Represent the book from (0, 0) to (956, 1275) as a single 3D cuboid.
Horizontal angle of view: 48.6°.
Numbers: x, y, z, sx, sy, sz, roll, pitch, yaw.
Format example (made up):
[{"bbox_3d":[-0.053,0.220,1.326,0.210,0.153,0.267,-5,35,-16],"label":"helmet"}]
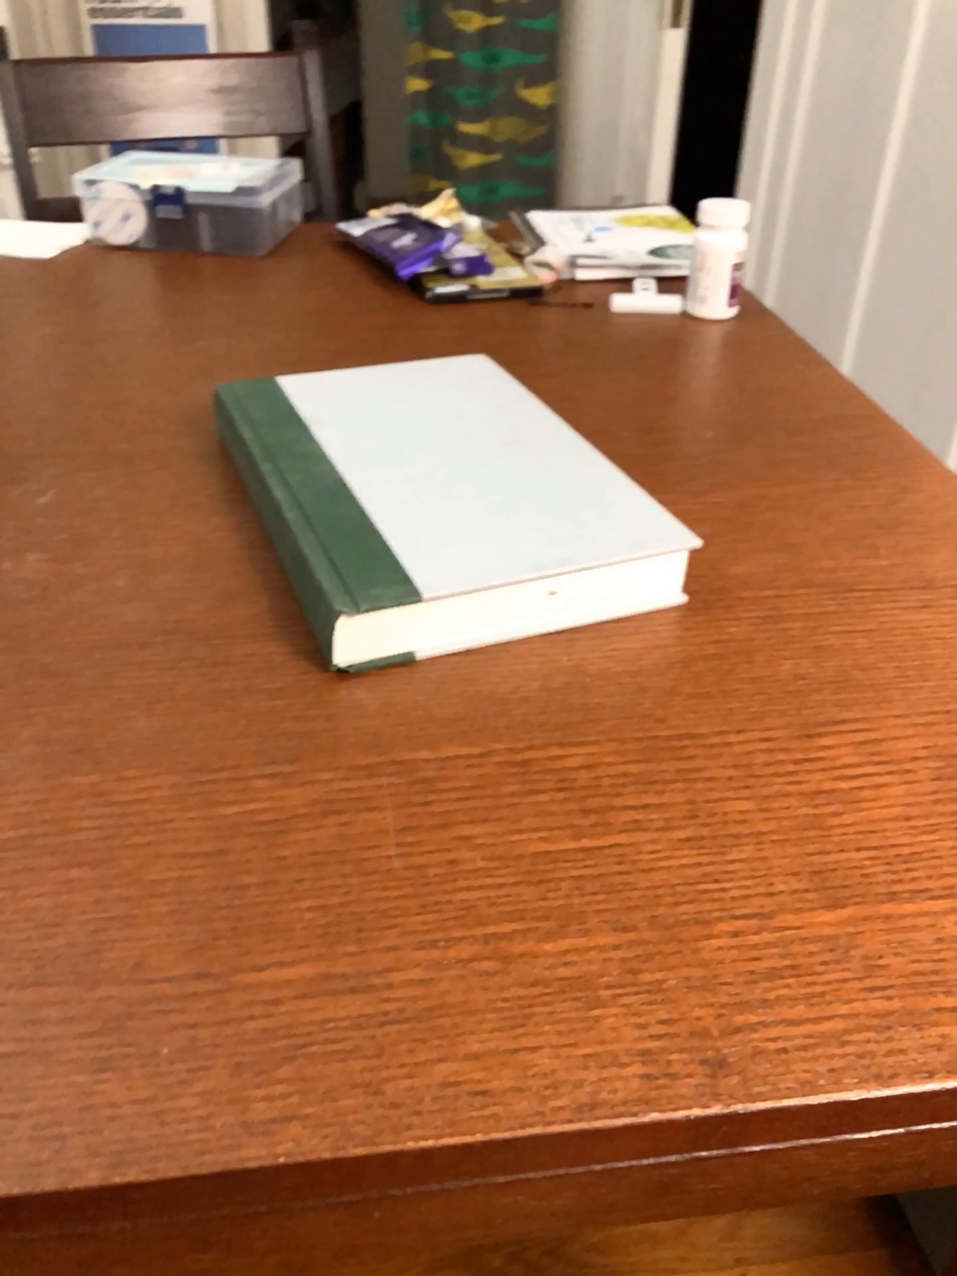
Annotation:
[{"bbox_3d":[0.127,-0.245,0.099,1.003,0.994,1.003,-26,42,-33],"label":"book"}]
